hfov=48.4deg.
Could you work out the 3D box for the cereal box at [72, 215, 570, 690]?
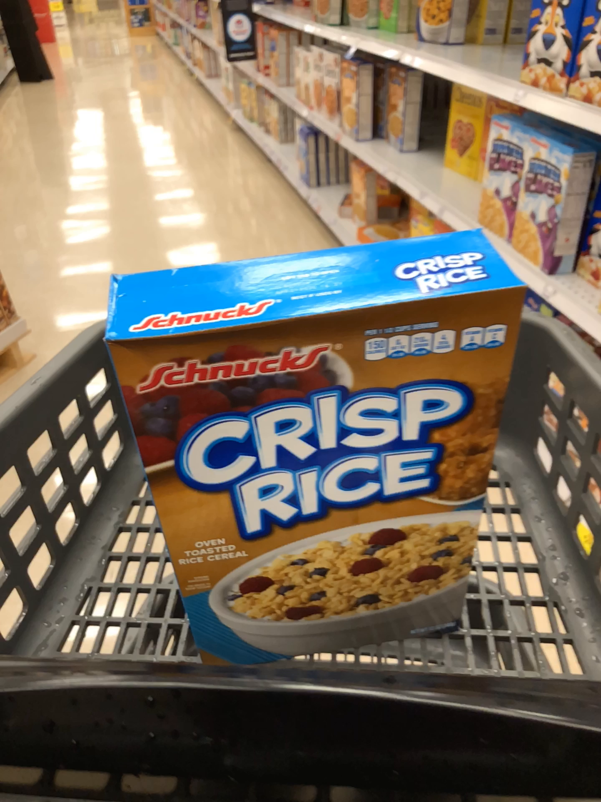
[{"bbox_3d":[0.013,0.053,0.408,0.220,0.299,0.060,-9,40,-7],"label":"cereal box"}]
